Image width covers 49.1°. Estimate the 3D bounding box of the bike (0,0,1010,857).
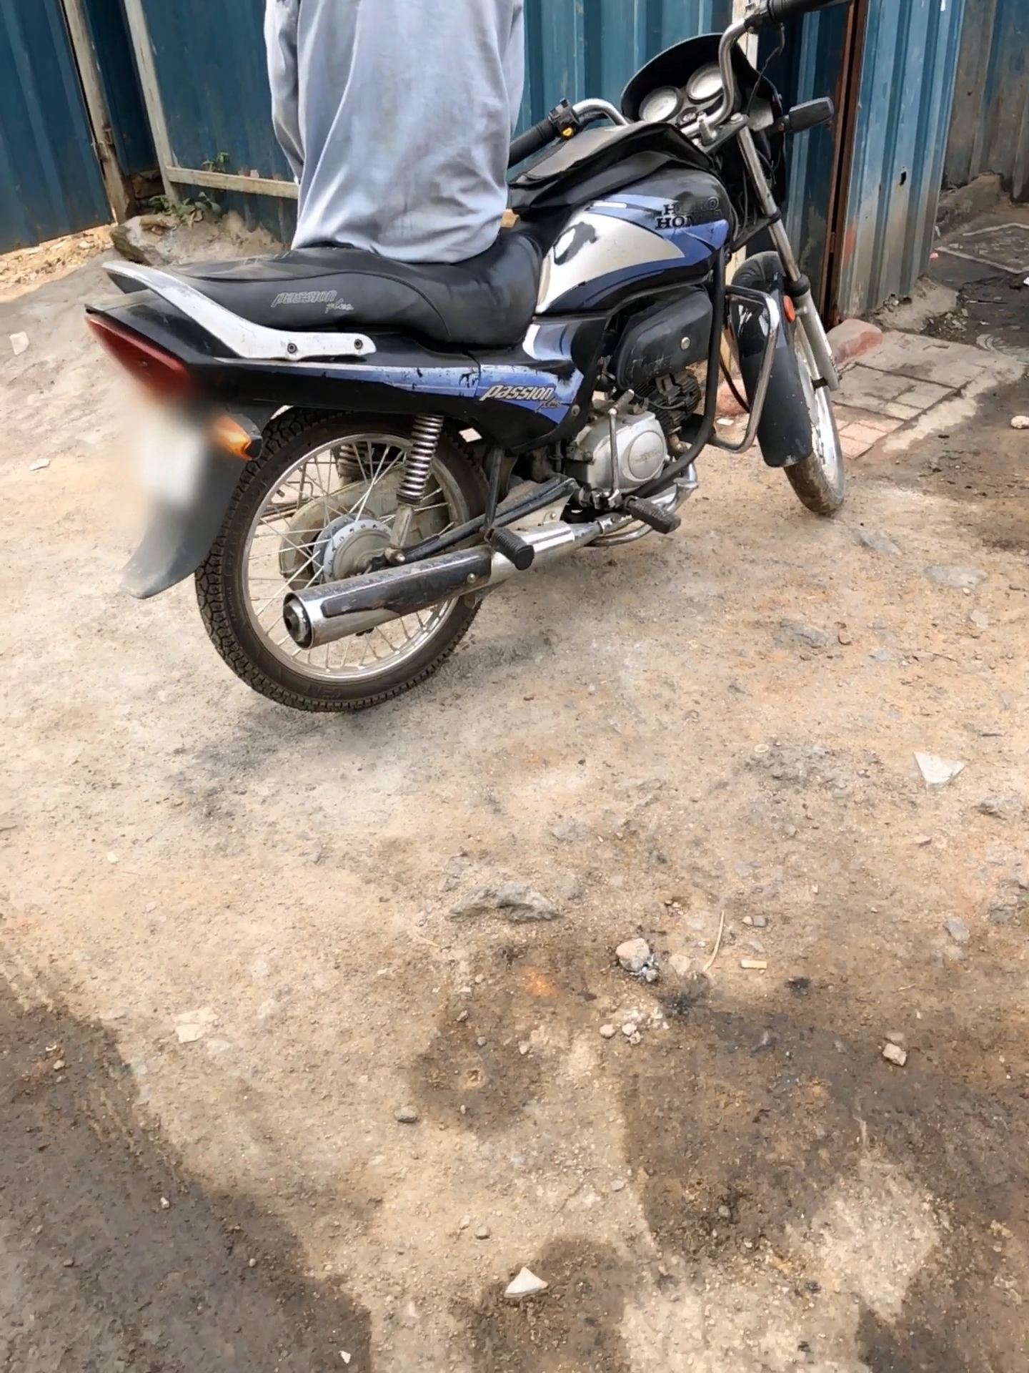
[{"bbox_3d":[0.091,-0.762,2.292,1.808,1.154,0.785,-30,42,-31],"label":"bike"}]
